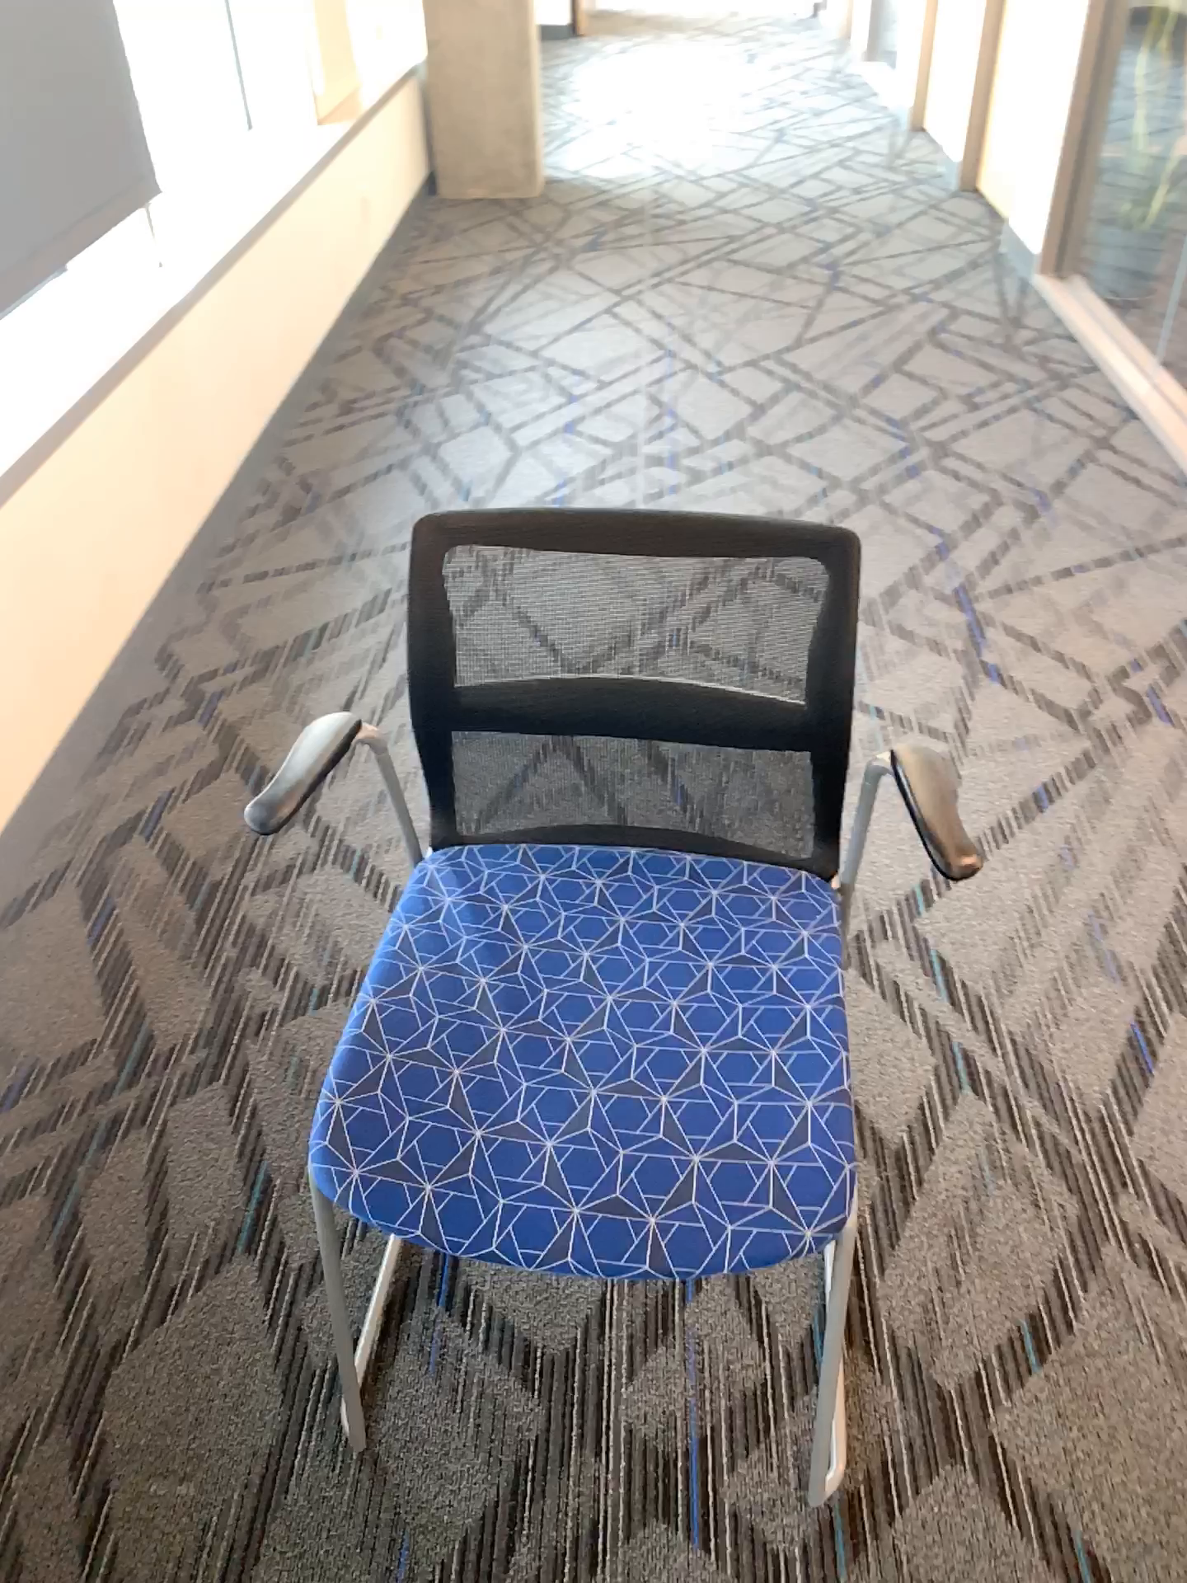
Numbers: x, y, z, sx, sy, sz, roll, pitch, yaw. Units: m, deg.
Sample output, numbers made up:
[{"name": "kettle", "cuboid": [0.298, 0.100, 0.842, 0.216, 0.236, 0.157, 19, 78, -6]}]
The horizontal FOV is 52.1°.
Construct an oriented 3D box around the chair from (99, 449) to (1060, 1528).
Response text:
[{"name": "chair", "cuboid": [0.027, 0.171, 1.125, 0.530, 0.763, 0.585, 3, 38, 7]}]
